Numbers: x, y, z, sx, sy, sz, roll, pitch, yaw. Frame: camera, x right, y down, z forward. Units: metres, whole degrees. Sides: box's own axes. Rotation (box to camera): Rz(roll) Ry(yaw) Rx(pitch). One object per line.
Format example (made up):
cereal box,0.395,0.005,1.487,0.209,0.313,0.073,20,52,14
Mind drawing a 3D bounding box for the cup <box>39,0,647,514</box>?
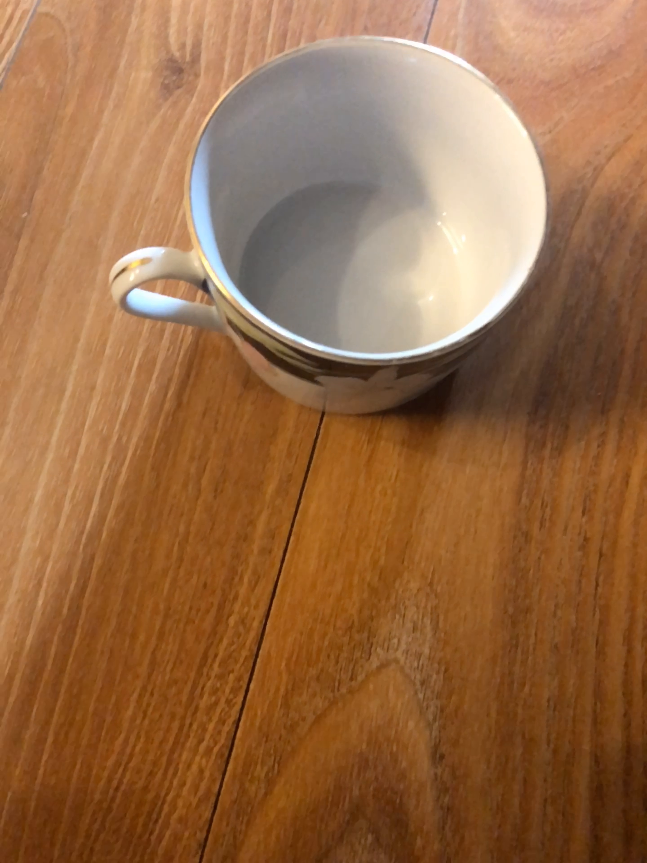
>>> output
cup,0.003,-0.042,0.183,0.110,0.060,0.090,-17,78,-5
